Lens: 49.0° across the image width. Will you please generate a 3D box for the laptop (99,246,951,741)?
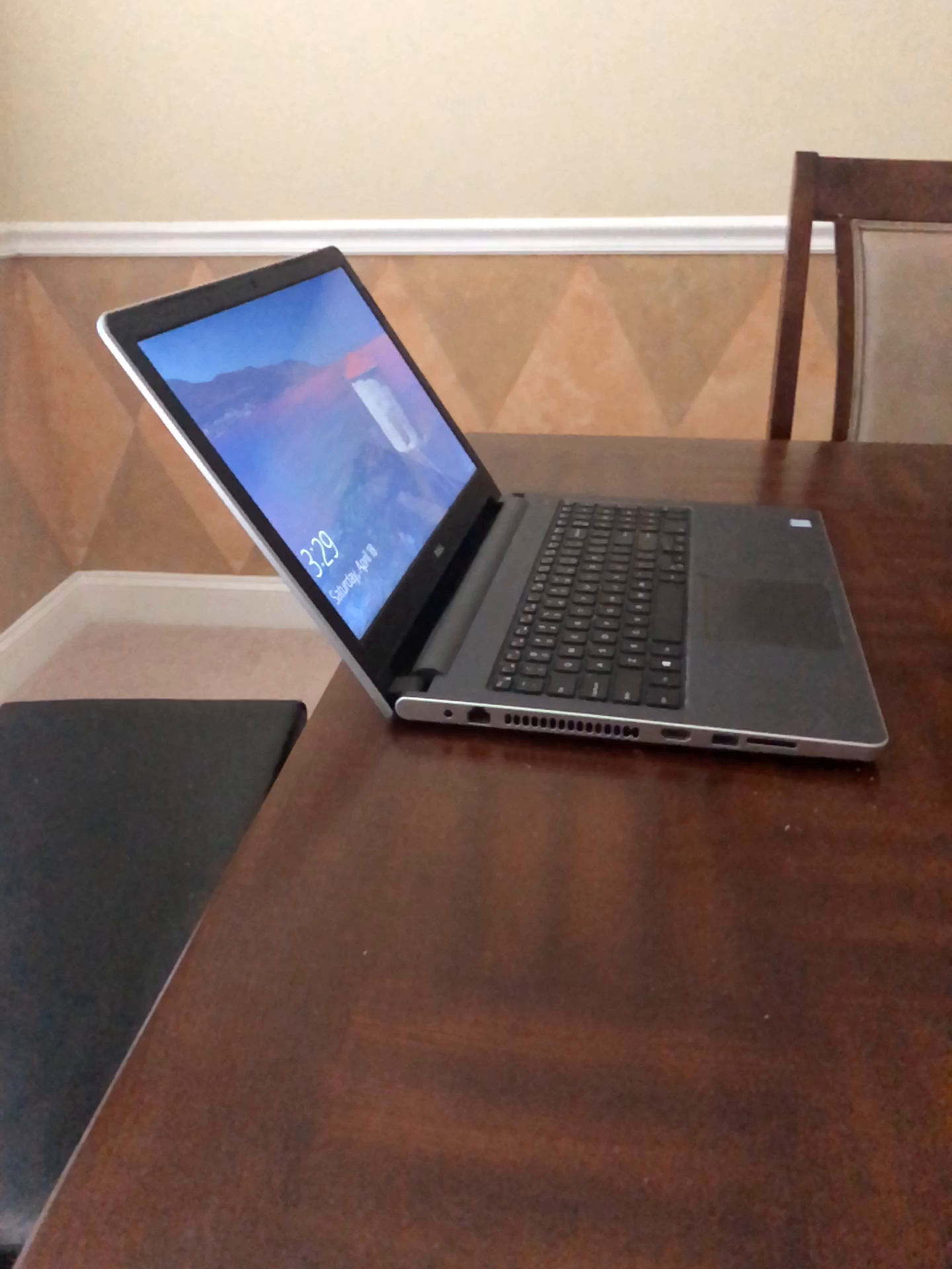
[{"bbox_3d":[0.046,-0.128,0.679,0.391,0.198,0.368,4,25,9],"label":"laptop"}]
